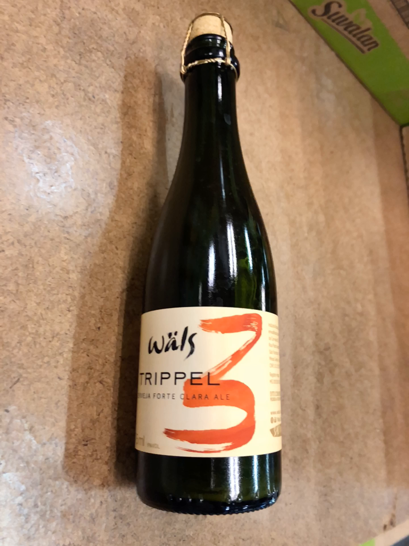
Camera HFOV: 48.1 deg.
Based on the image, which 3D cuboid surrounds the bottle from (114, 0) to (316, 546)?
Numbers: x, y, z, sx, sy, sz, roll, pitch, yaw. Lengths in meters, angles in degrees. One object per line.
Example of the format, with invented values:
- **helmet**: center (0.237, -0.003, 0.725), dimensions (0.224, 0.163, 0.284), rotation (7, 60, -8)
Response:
- **bottle**: center (0.008, -0.030, 0.223), dimensions (0.070, 0.050, 0.270), rotation (16, 69, -46)
